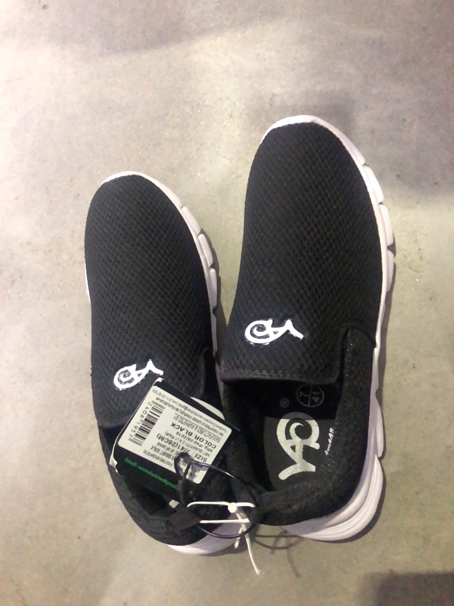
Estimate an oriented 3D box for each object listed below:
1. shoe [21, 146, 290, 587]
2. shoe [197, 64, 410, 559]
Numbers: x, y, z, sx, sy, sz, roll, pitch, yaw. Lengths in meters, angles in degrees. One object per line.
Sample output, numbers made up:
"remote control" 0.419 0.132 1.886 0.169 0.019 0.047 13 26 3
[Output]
"shoe" -0.050 0.041 0.369 0.110 0.100 0.260 -18 78 14
"shoe" 0.055 0.004 0.341 0.110 0.100 0.270 -3 81 26
